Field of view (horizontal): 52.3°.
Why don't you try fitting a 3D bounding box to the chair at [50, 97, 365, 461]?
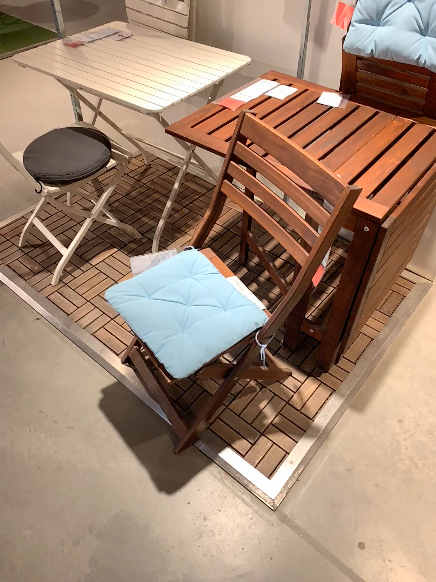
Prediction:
[{"bbox_3d":[-0.042,-0.015,1.252,0.520,0.777,0.471,-24,51,-22],"label":"chair"}]
